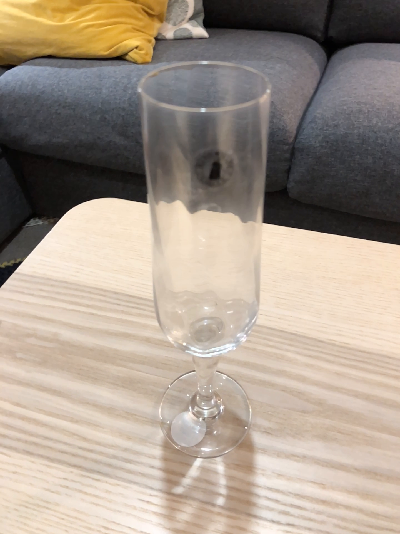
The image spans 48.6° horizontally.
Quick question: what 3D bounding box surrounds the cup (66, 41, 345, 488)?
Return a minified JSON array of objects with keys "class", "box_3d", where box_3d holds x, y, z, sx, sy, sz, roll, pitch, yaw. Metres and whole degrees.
[{"class":"cup","box_3d":[-0.002,0.019,0.247,0.080,0.239,0.080,0,42,0]}]
